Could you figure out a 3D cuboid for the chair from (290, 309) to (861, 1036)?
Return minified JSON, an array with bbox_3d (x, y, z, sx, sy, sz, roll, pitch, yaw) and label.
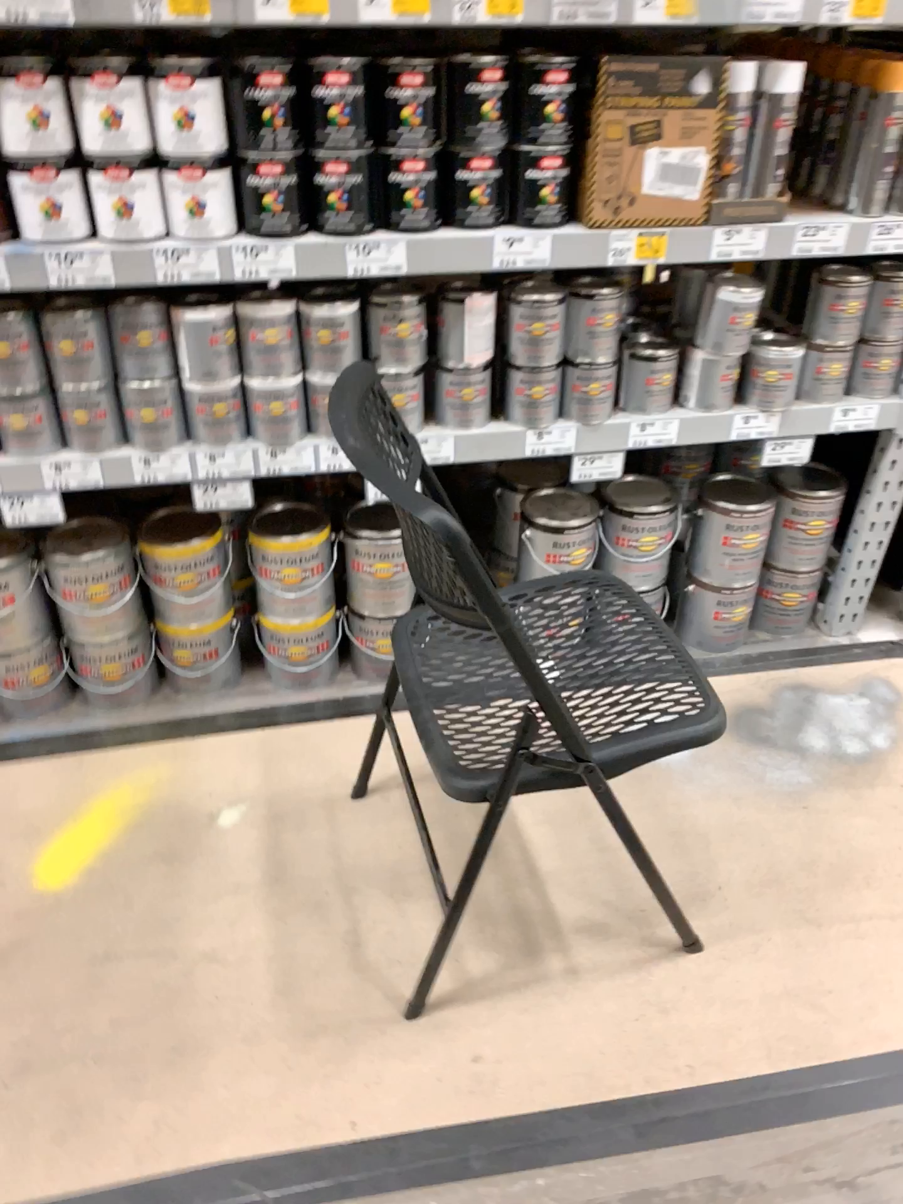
[{"bbox_3d":[0.096,0.087,1.312,0.515,0.814,0.521,-8,35,-12],"label":"chair"}]
